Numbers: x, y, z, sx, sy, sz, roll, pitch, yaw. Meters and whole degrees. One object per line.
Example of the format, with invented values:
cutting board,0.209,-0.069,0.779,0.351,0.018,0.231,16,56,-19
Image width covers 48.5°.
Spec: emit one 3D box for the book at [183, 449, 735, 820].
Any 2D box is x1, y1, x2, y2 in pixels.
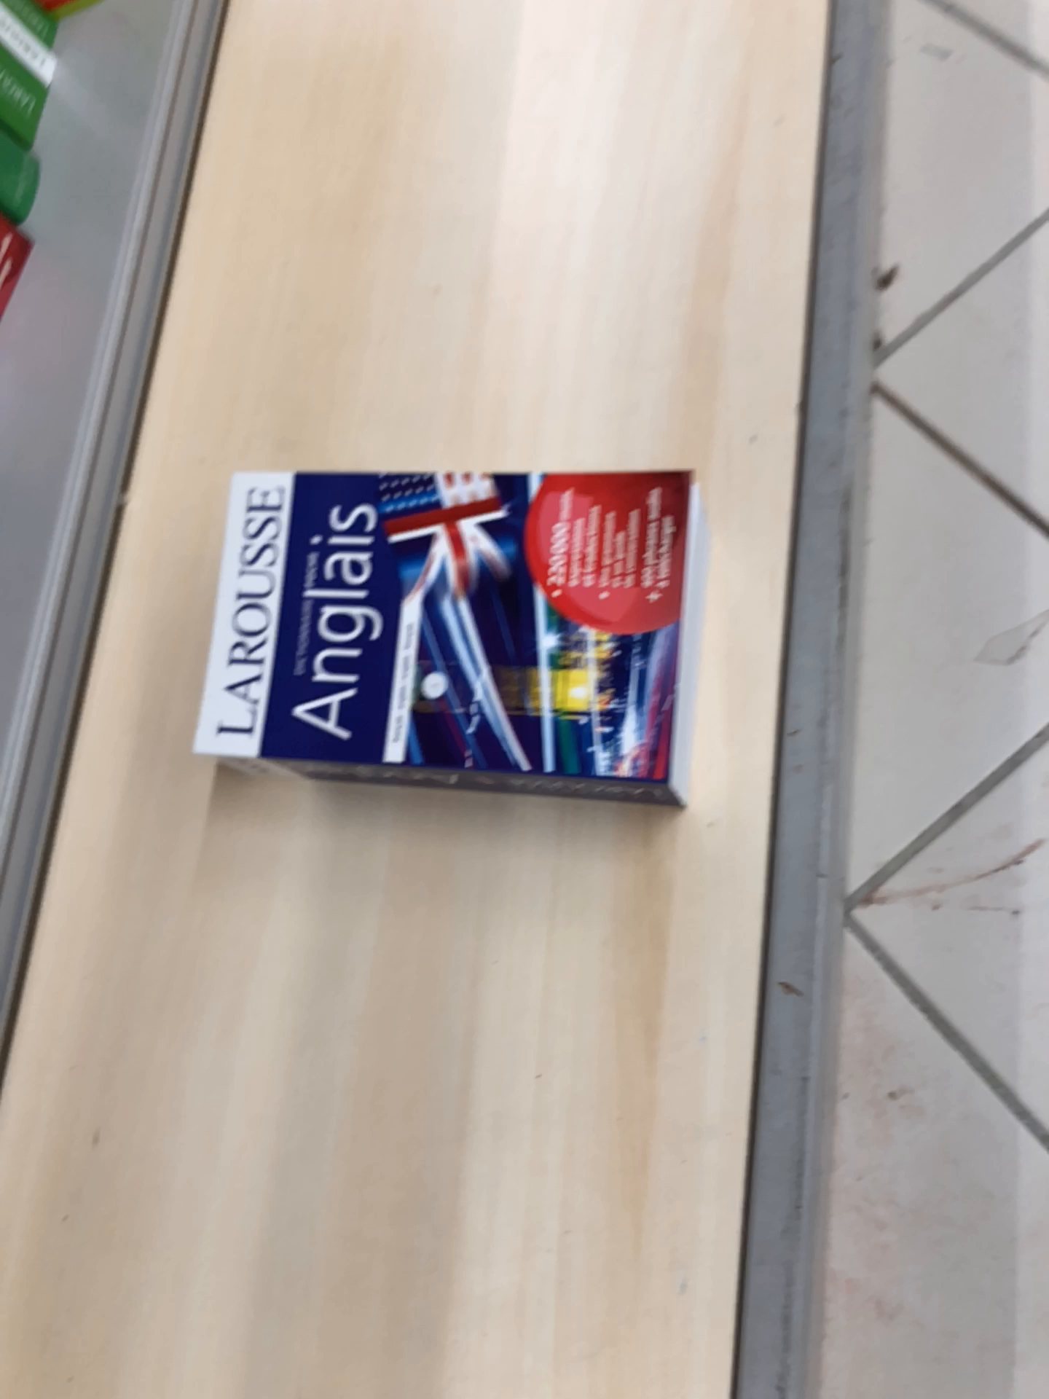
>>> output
book,-0.019,-0.025,0.428,0.181,0.054,0.117,2,73,15
